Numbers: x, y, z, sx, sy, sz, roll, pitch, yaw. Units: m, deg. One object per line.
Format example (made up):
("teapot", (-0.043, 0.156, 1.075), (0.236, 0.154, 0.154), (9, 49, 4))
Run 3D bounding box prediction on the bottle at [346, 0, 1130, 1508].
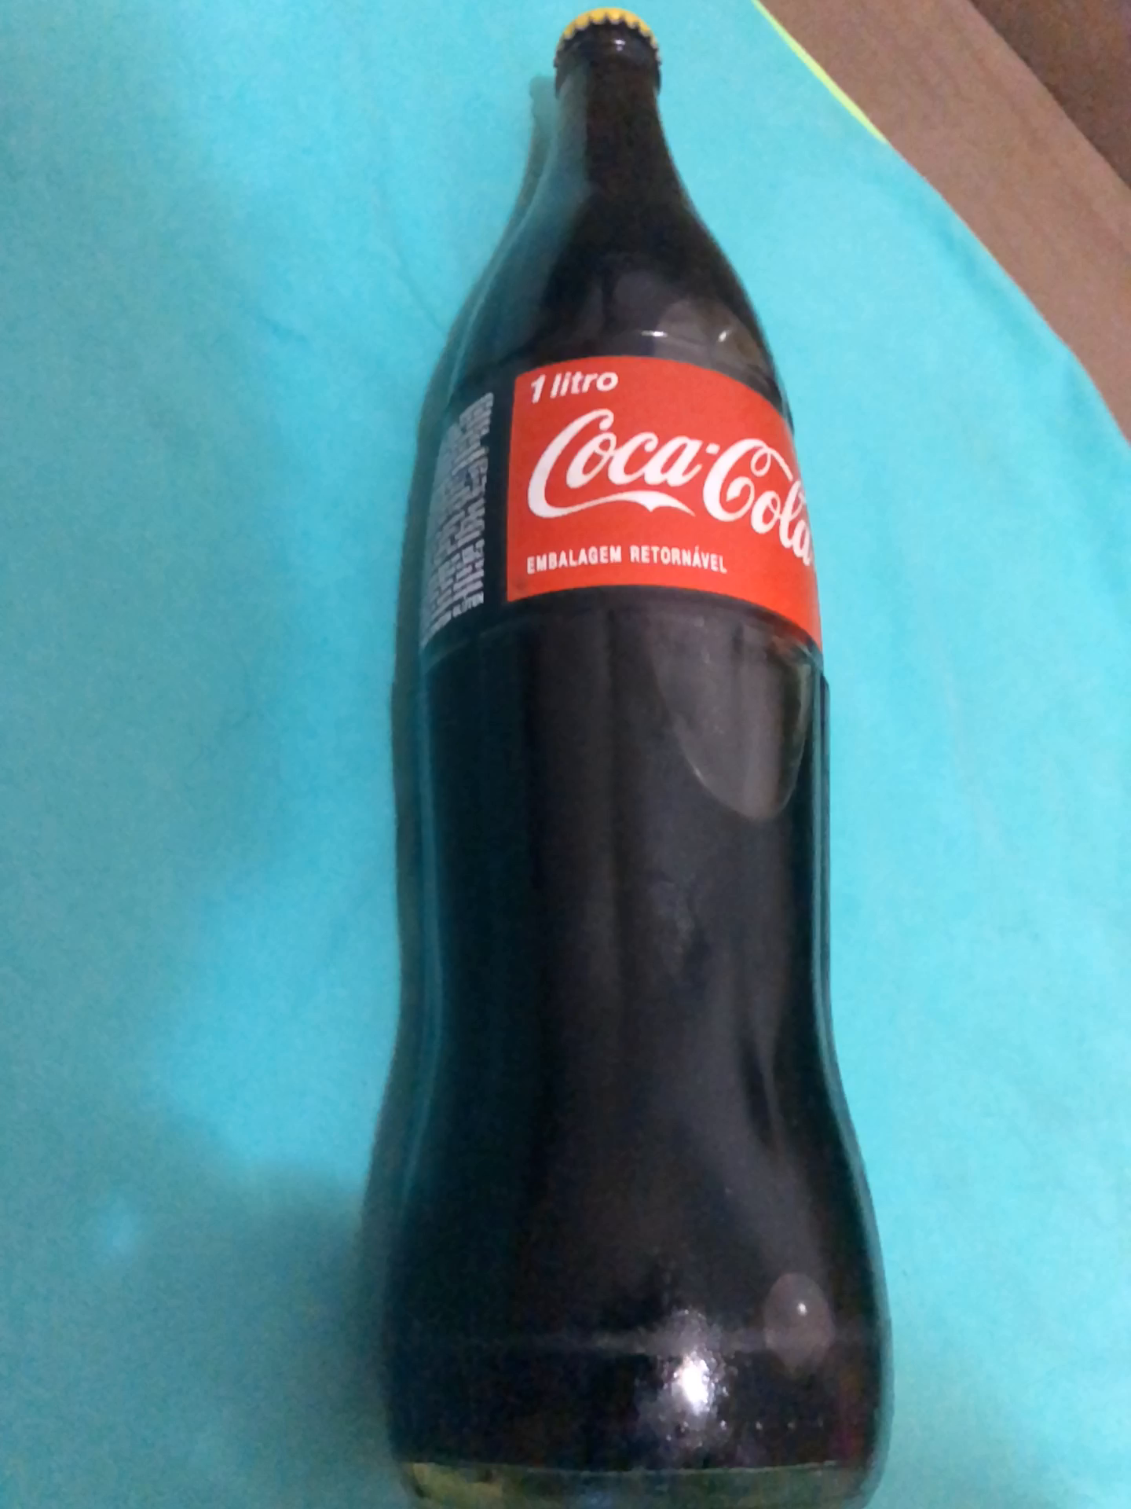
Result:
("bottle", (0.025, -0.039, 0.261), (0.100, 0.070, 0.361), (14, 63, -31))
